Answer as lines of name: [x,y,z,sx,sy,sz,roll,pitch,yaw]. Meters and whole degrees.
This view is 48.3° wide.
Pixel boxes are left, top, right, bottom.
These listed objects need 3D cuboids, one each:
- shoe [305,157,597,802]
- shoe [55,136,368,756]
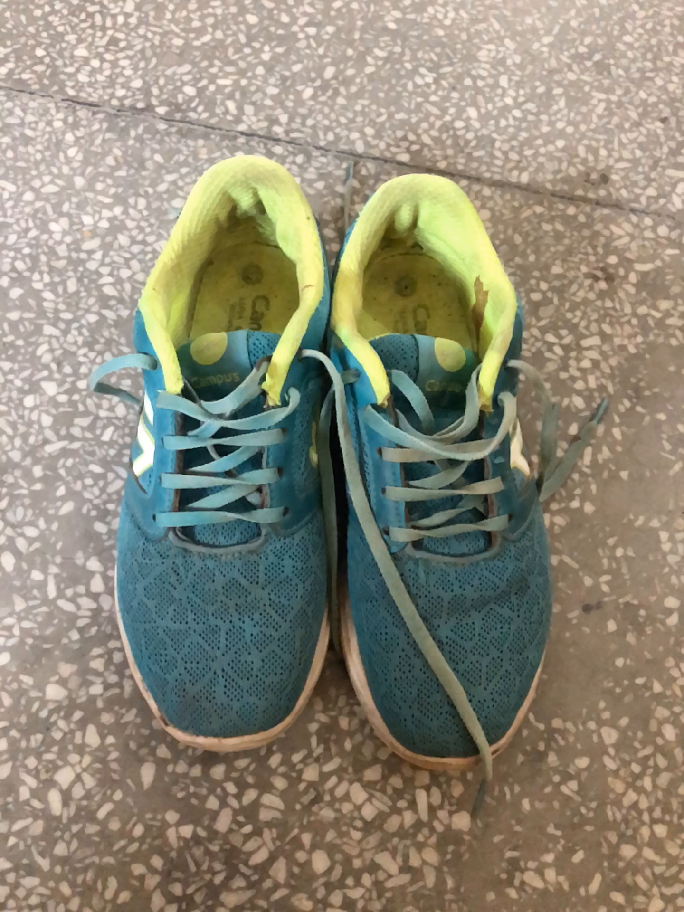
shoe: [0.038,0.006,0.331,0.100,0.080,0.250,2,75,-2]
shoe: [-0.041,-0.006,0.319,0.090,0.080,0.240,3,70,-1]
